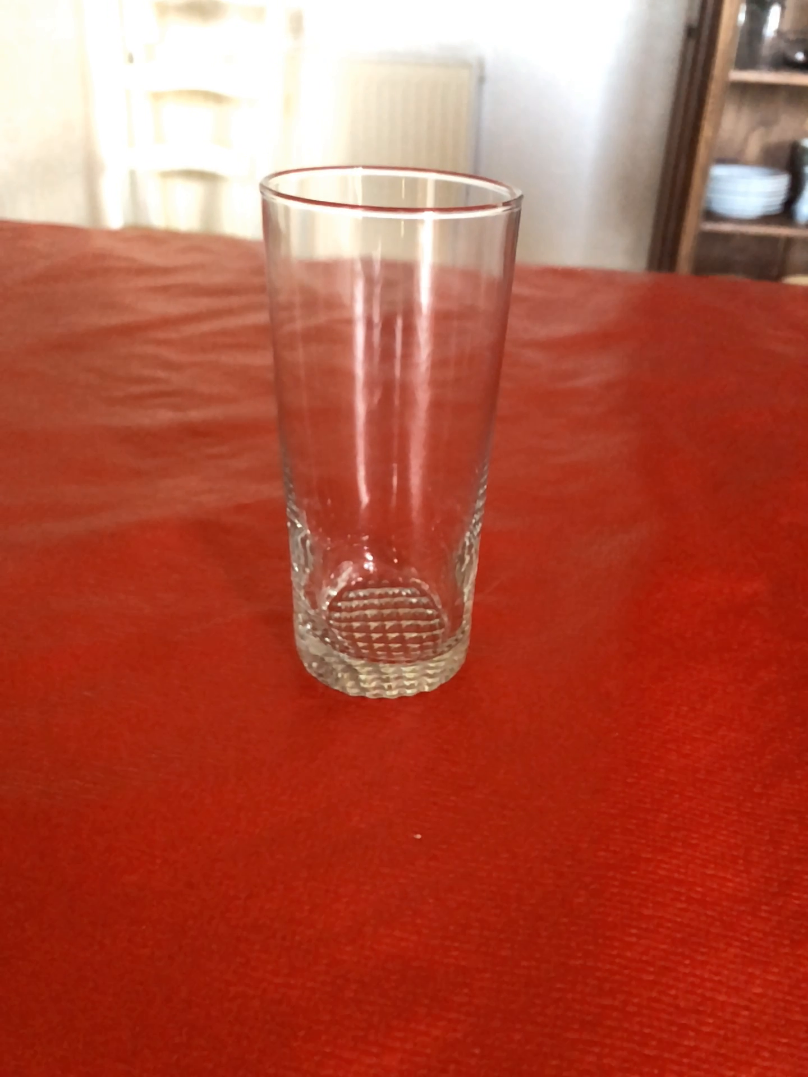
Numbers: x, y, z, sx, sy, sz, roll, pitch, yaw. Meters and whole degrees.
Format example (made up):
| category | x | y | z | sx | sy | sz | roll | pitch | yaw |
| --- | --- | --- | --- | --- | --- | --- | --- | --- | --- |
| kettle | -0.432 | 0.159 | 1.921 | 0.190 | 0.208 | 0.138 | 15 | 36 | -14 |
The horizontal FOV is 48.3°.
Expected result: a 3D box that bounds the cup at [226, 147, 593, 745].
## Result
| category | x | y | z | sx | sy | sz | roll | pitch | yaw |
| --- | --- | --- | --- | --- | --- | --- | --- | --- | --- |
| cup | -0.003 | -0.028 | 0.263 | 0.070 | 0.149 | 0.070 | 1 | 30 | -1 |
